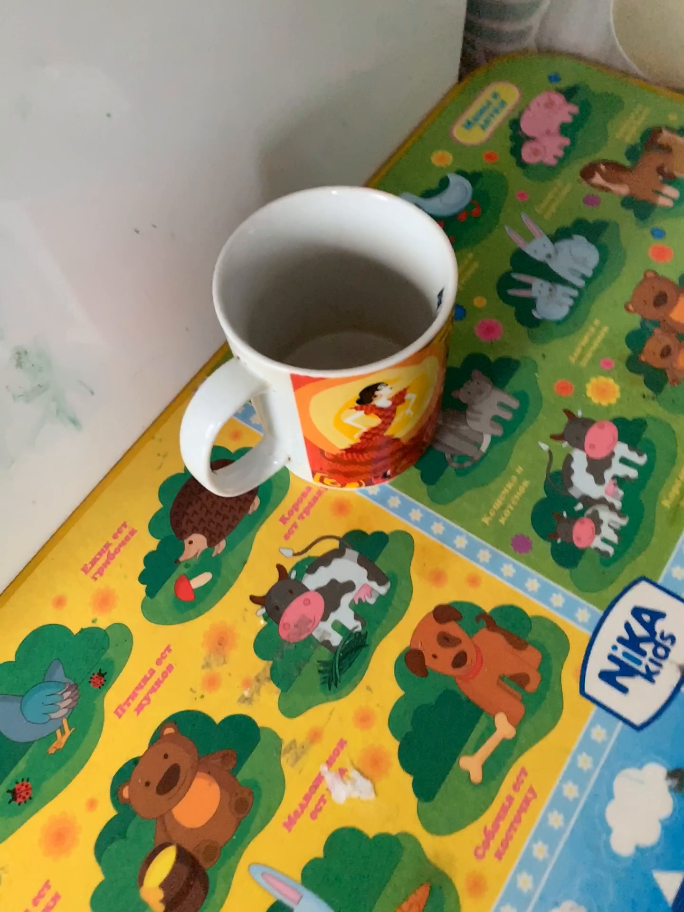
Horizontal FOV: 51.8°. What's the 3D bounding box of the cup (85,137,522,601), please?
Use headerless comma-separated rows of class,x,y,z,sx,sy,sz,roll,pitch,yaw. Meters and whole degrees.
cup,-0.007,-0.029,0.268,0.084,0.098,0.119,33,70,18
